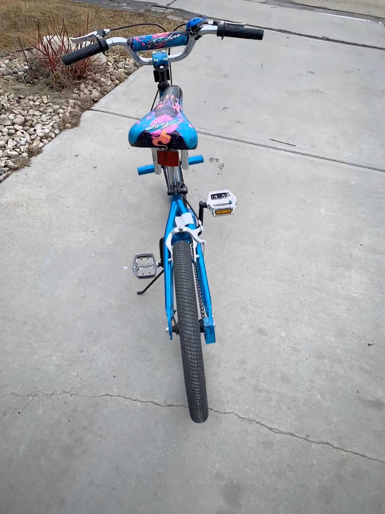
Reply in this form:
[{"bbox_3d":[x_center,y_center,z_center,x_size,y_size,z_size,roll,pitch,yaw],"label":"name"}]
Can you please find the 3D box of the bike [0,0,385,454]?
[{"bbox_3d":[-0.167,-0.242,1.299,0.680,0.837,1.392,-2,46,-9],"label":"bike"}]
